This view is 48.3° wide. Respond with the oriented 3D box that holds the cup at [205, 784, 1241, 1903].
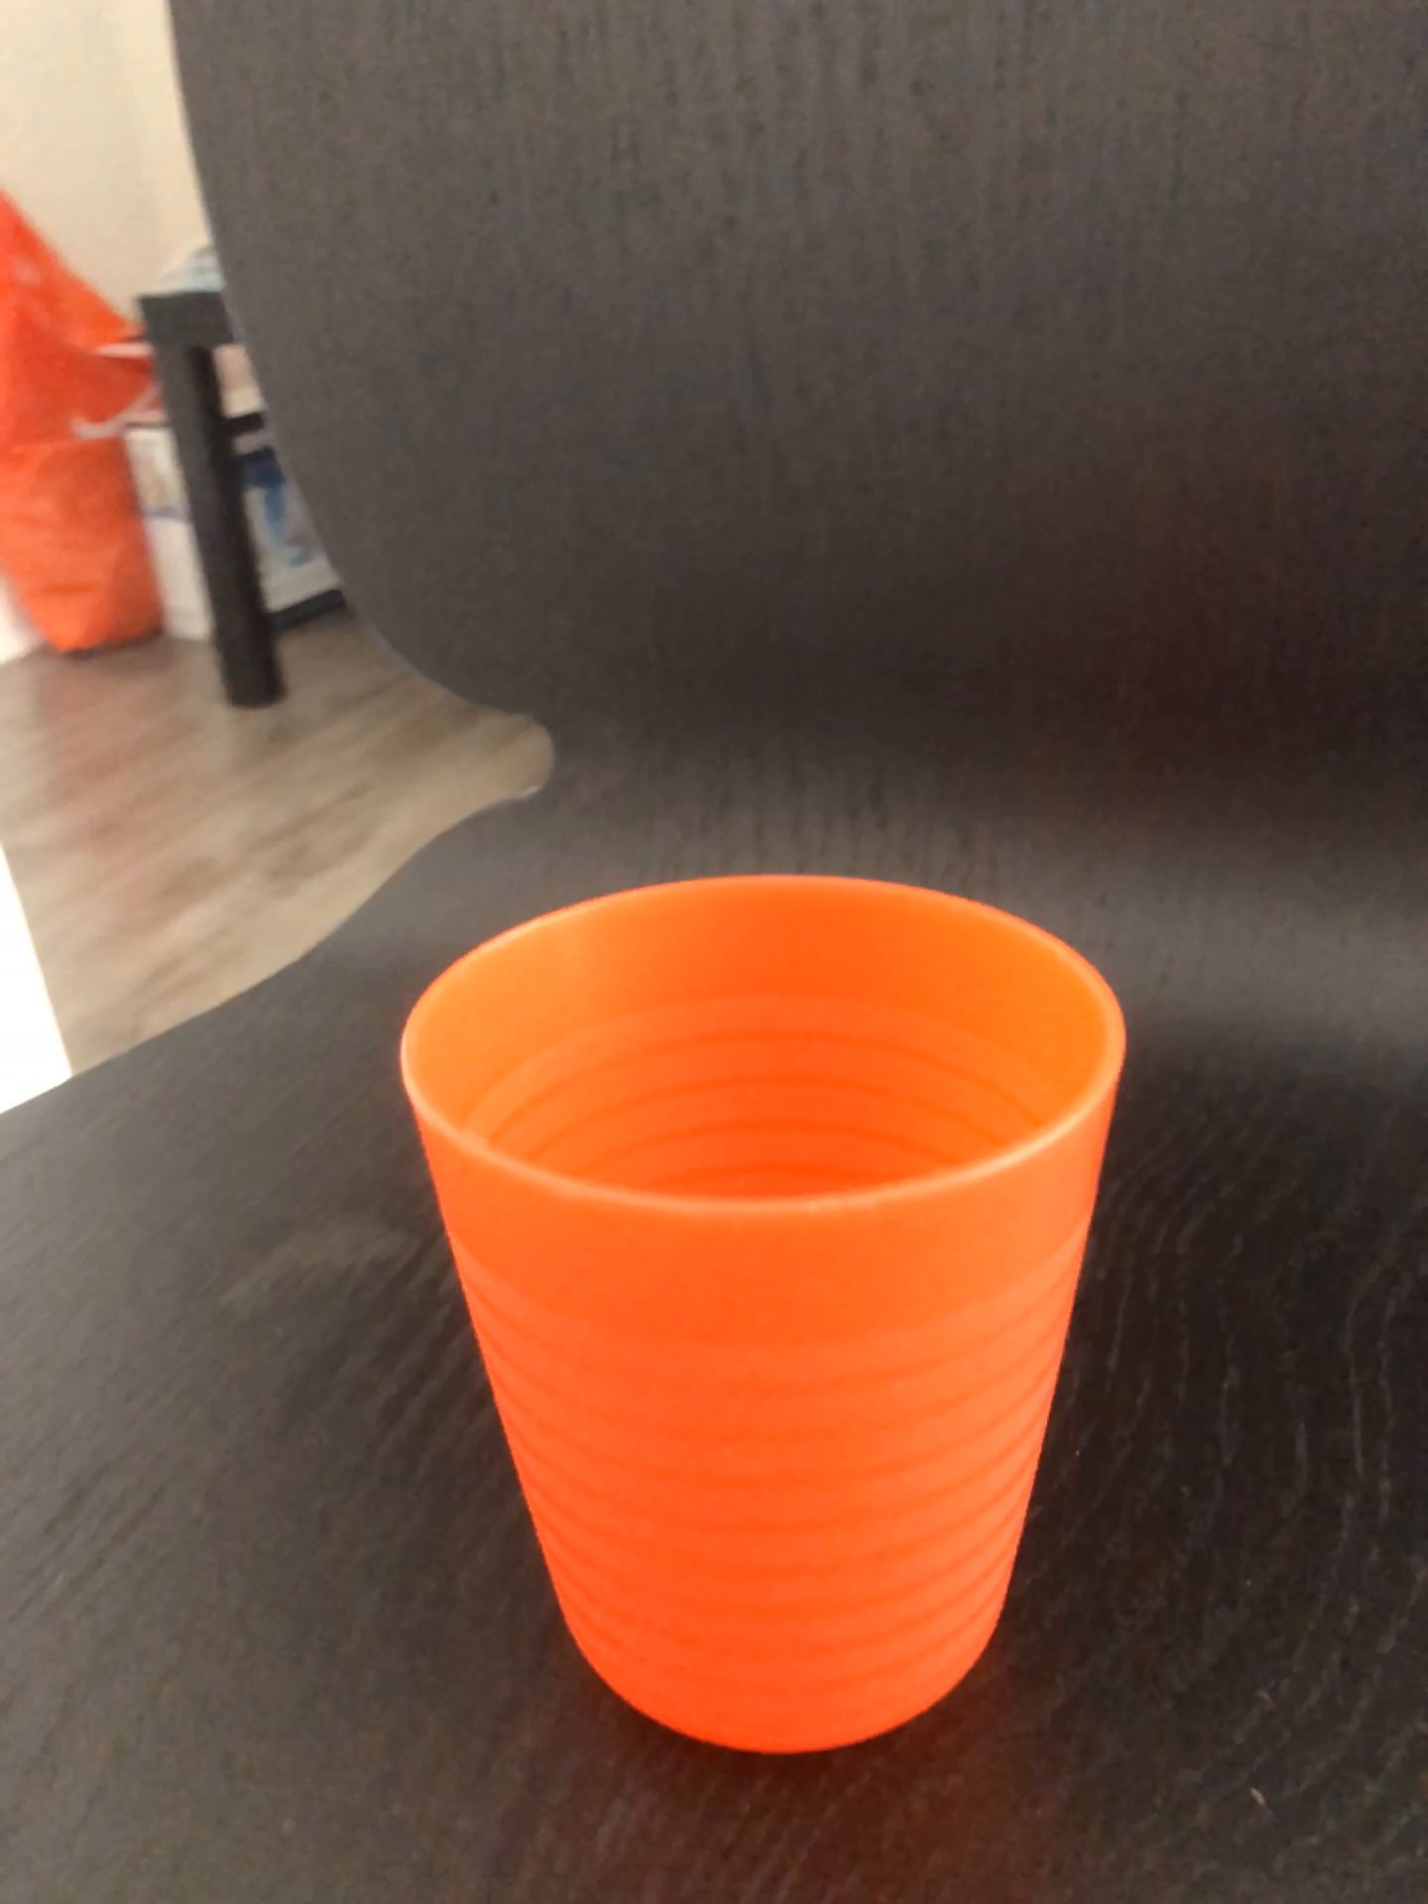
[{"bbox_3d":[0.005,0.038,0.191,0.080,0.080,0.080,-3,28,2],"label":"cup"}]
